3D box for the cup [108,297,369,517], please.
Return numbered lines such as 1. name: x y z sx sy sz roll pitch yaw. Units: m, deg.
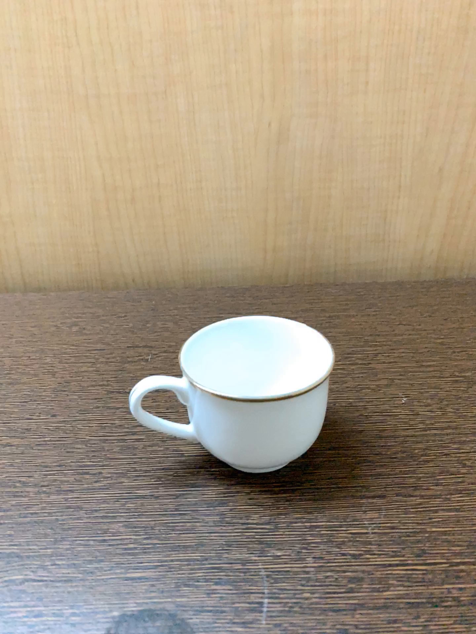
1. cup: -0.004 0.032 0.203 0.090 0.050 0.060 -7 27 -11
